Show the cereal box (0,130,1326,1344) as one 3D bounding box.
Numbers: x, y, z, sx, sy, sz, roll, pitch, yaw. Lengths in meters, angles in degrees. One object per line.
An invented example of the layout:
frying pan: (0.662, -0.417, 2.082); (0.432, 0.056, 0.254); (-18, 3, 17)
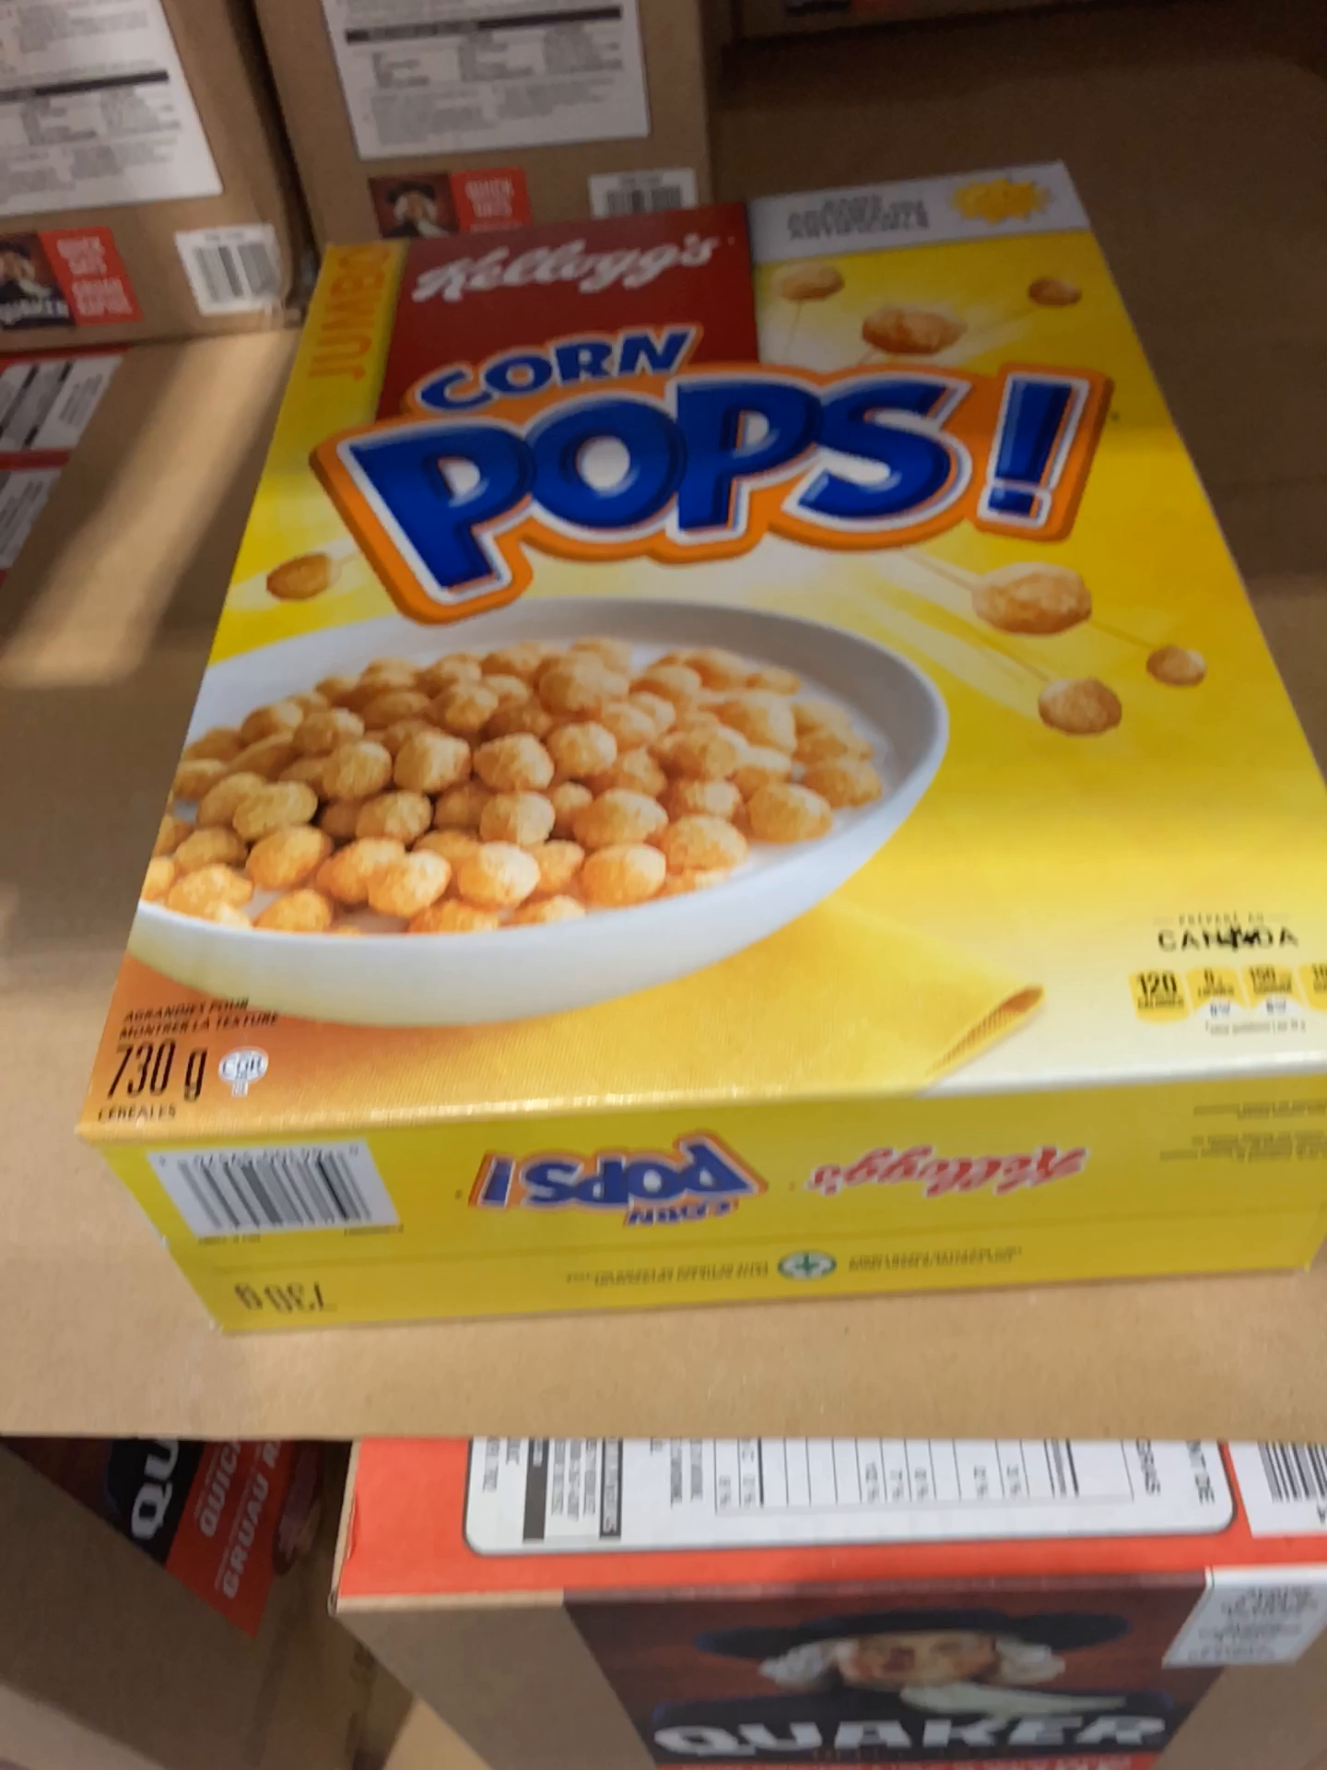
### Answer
cereal box: (0.013, -0.066, 0.402); (0.270, 0.100, 0.341); (-4, 49, 5)
